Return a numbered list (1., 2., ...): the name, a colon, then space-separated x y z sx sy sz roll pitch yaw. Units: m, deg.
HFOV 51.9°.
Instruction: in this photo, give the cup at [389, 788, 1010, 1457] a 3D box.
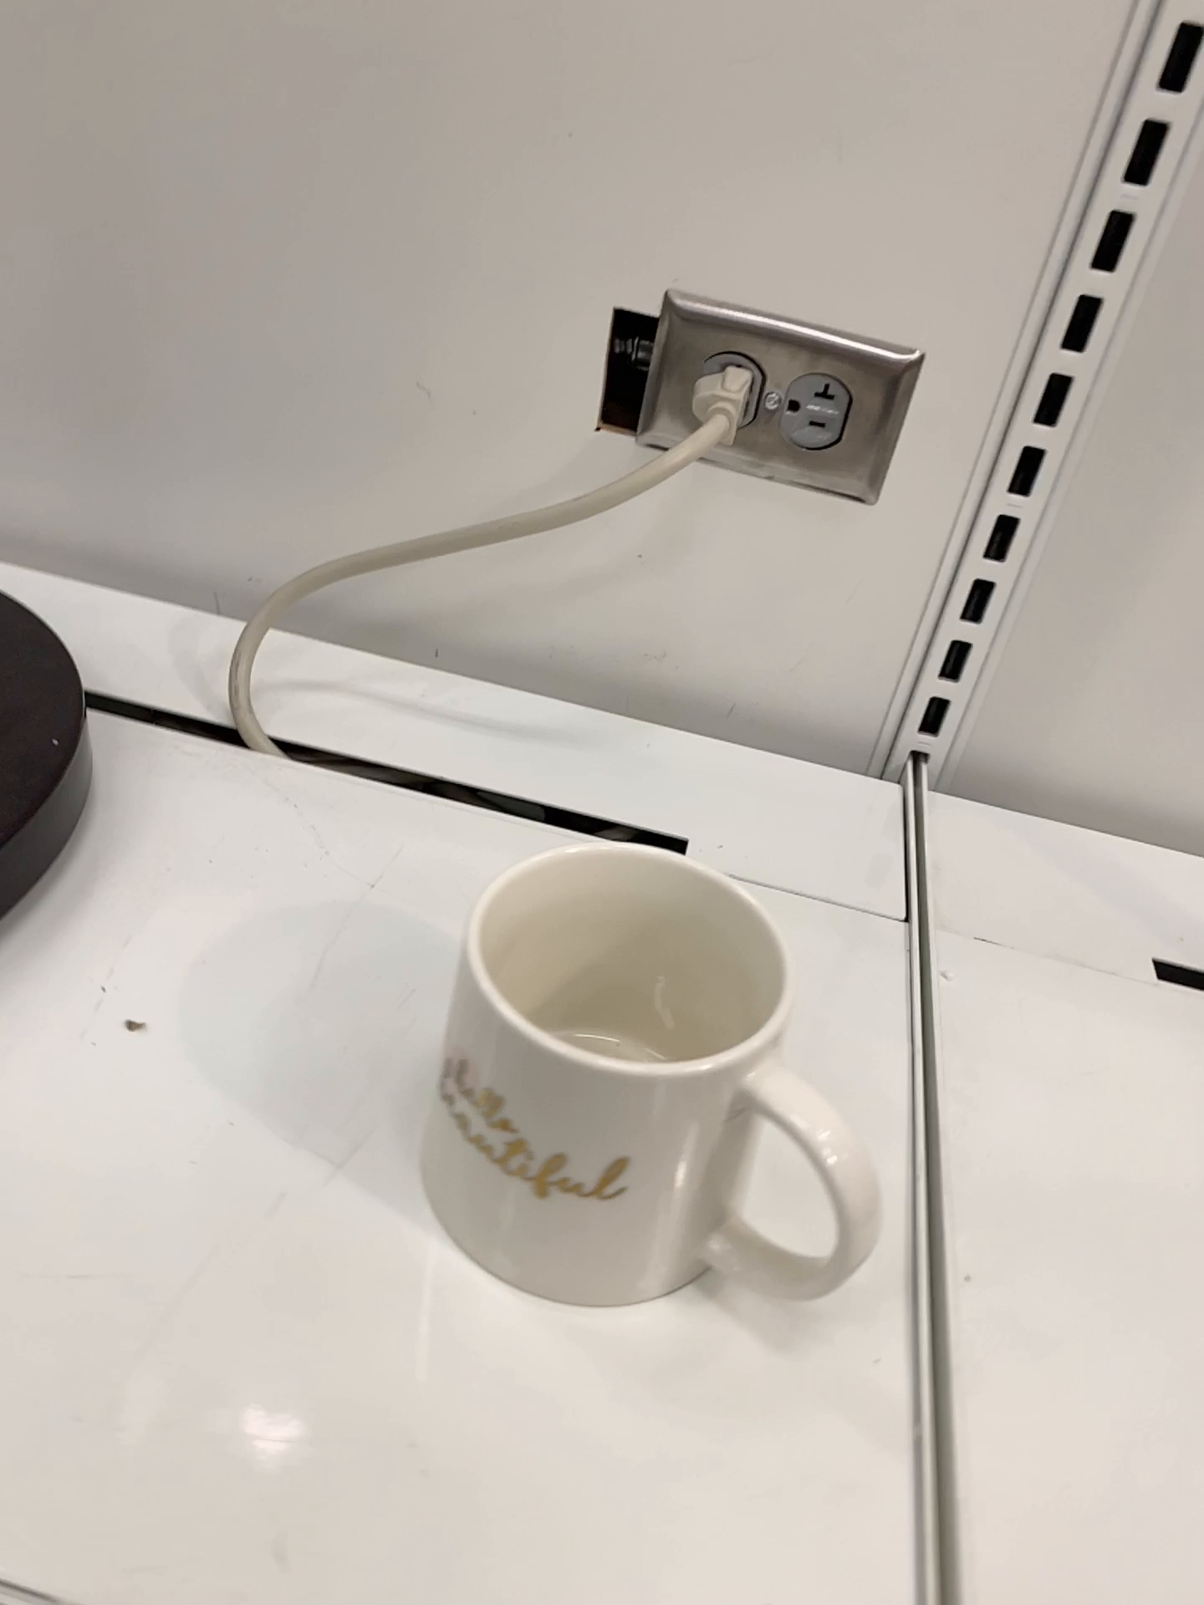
1. cup: 0.022 0.085 0.374 0.140 0.097 0.105 33 41 32
